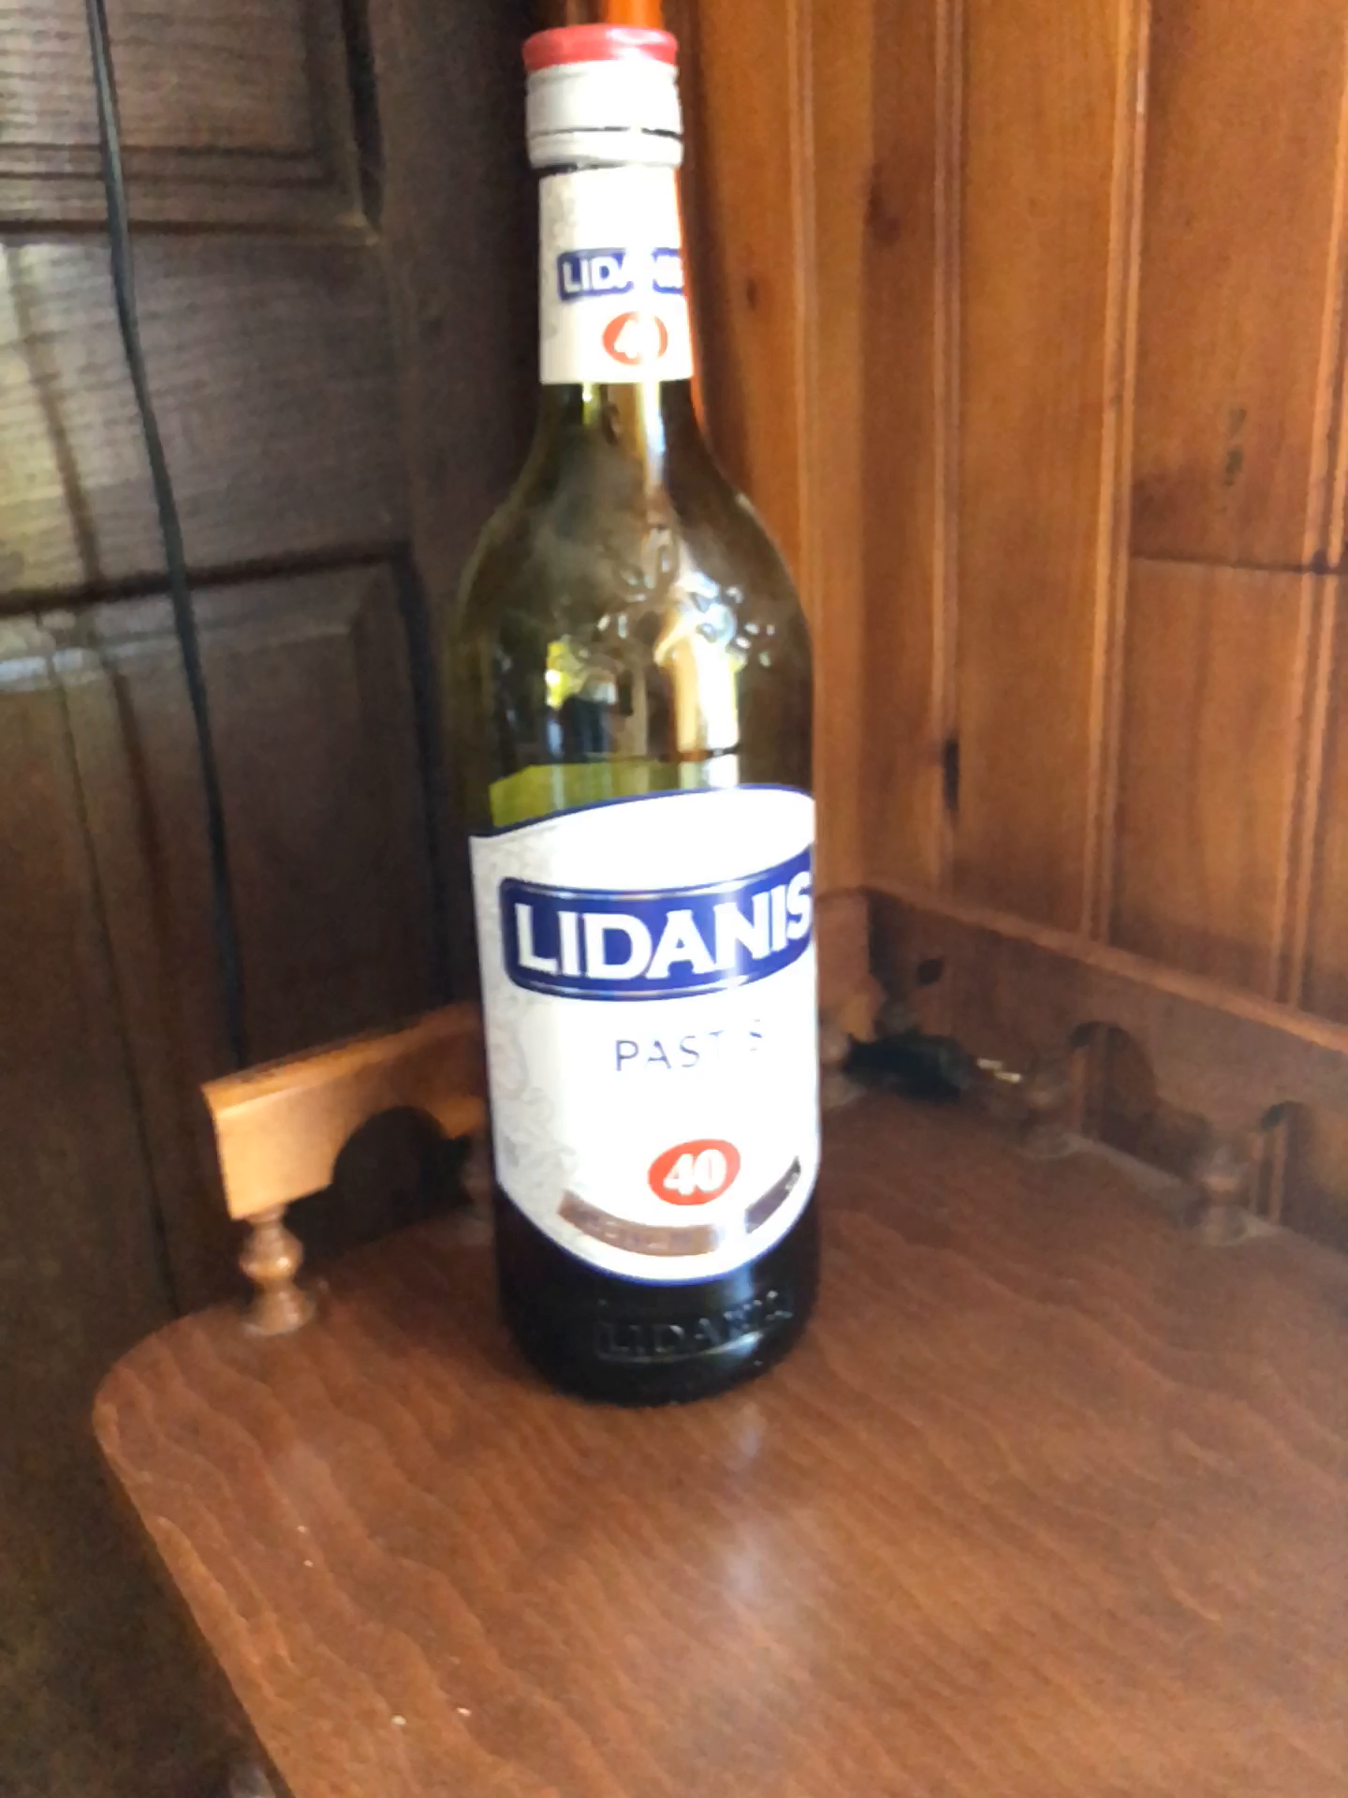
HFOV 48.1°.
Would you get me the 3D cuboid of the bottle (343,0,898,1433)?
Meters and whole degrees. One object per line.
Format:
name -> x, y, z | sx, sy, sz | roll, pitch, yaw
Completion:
bottle -> -0.008, -0.038, 0.342 | 0.090, 0.299, 0.080 | -8, 20, -15
